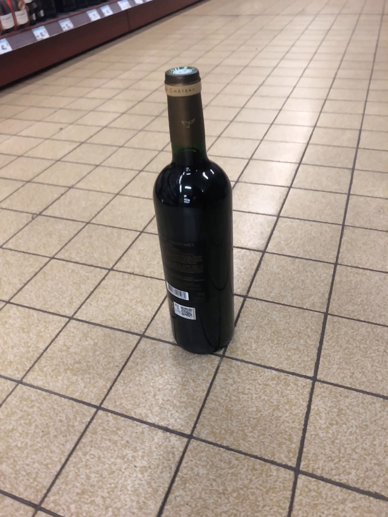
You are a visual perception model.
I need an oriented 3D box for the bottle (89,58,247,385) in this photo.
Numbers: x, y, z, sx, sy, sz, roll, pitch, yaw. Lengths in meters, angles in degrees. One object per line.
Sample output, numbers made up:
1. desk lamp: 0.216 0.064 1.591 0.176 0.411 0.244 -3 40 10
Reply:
1. bottle: -0.009 -0.020 0.403 0.080 0.288 0.091 19 42 28
